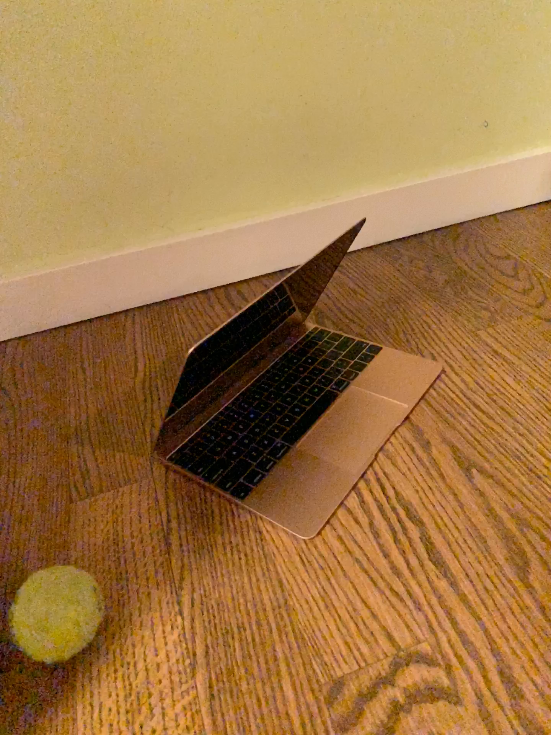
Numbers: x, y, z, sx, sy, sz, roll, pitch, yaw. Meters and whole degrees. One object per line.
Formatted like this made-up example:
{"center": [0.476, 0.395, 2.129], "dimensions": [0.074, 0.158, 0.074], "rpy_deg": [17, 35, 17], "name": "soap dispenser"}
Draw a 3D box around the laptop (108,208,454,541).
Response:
{"center": [0.025, -0.020, 0.592], "dimensions": [0.206, 0.168, 0.289], "rpy_deg": [19, 44, 32], "name": "laptop"}
